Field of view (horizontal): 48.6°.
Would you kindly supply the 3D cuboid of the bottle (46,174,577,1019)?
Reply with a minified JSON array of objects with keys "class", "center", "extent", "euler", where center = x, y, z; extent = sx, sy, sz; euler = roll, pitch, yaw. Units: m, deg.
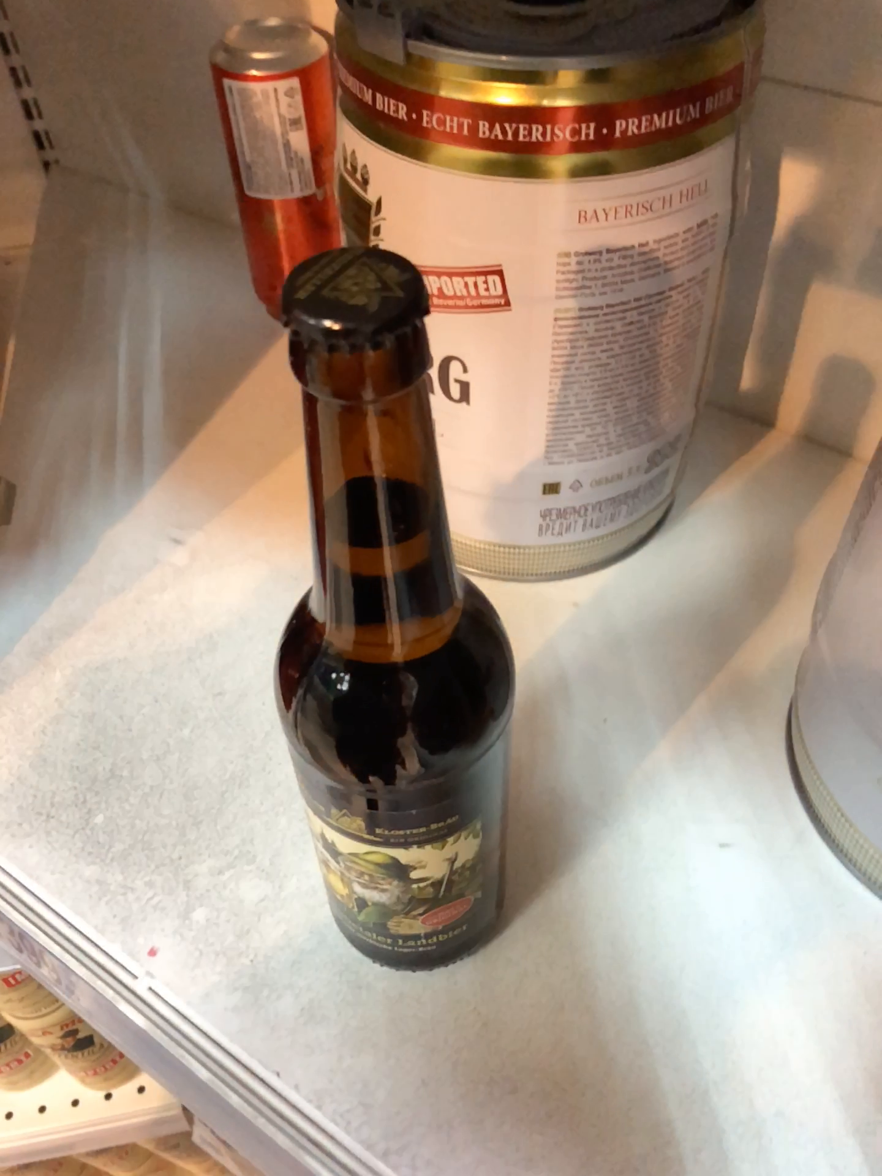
[{"class":"bottle","center":[-0.016,0.031,0.272],"extent":[0.071,0.257,0.064],"euler":[25,55,22]}]
